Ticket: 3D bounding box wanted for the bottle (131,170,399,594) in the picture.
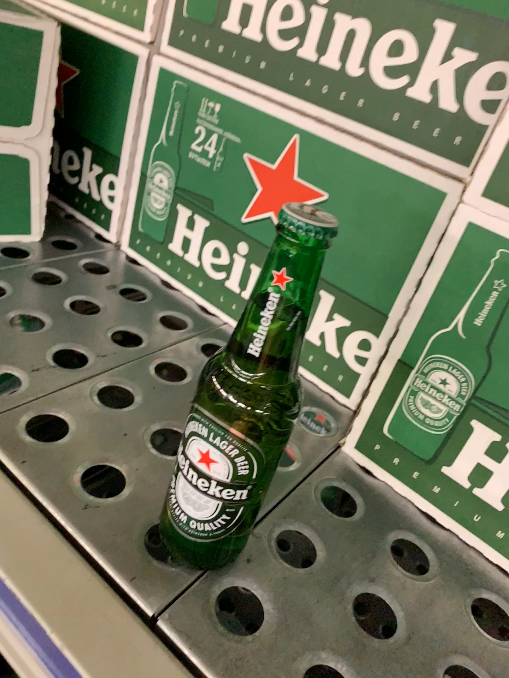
[{"bbox_3d":[-0.006,0.031,0.284,0.060,0.225,0.060,14,30,-8],"label":"bottle"}]
